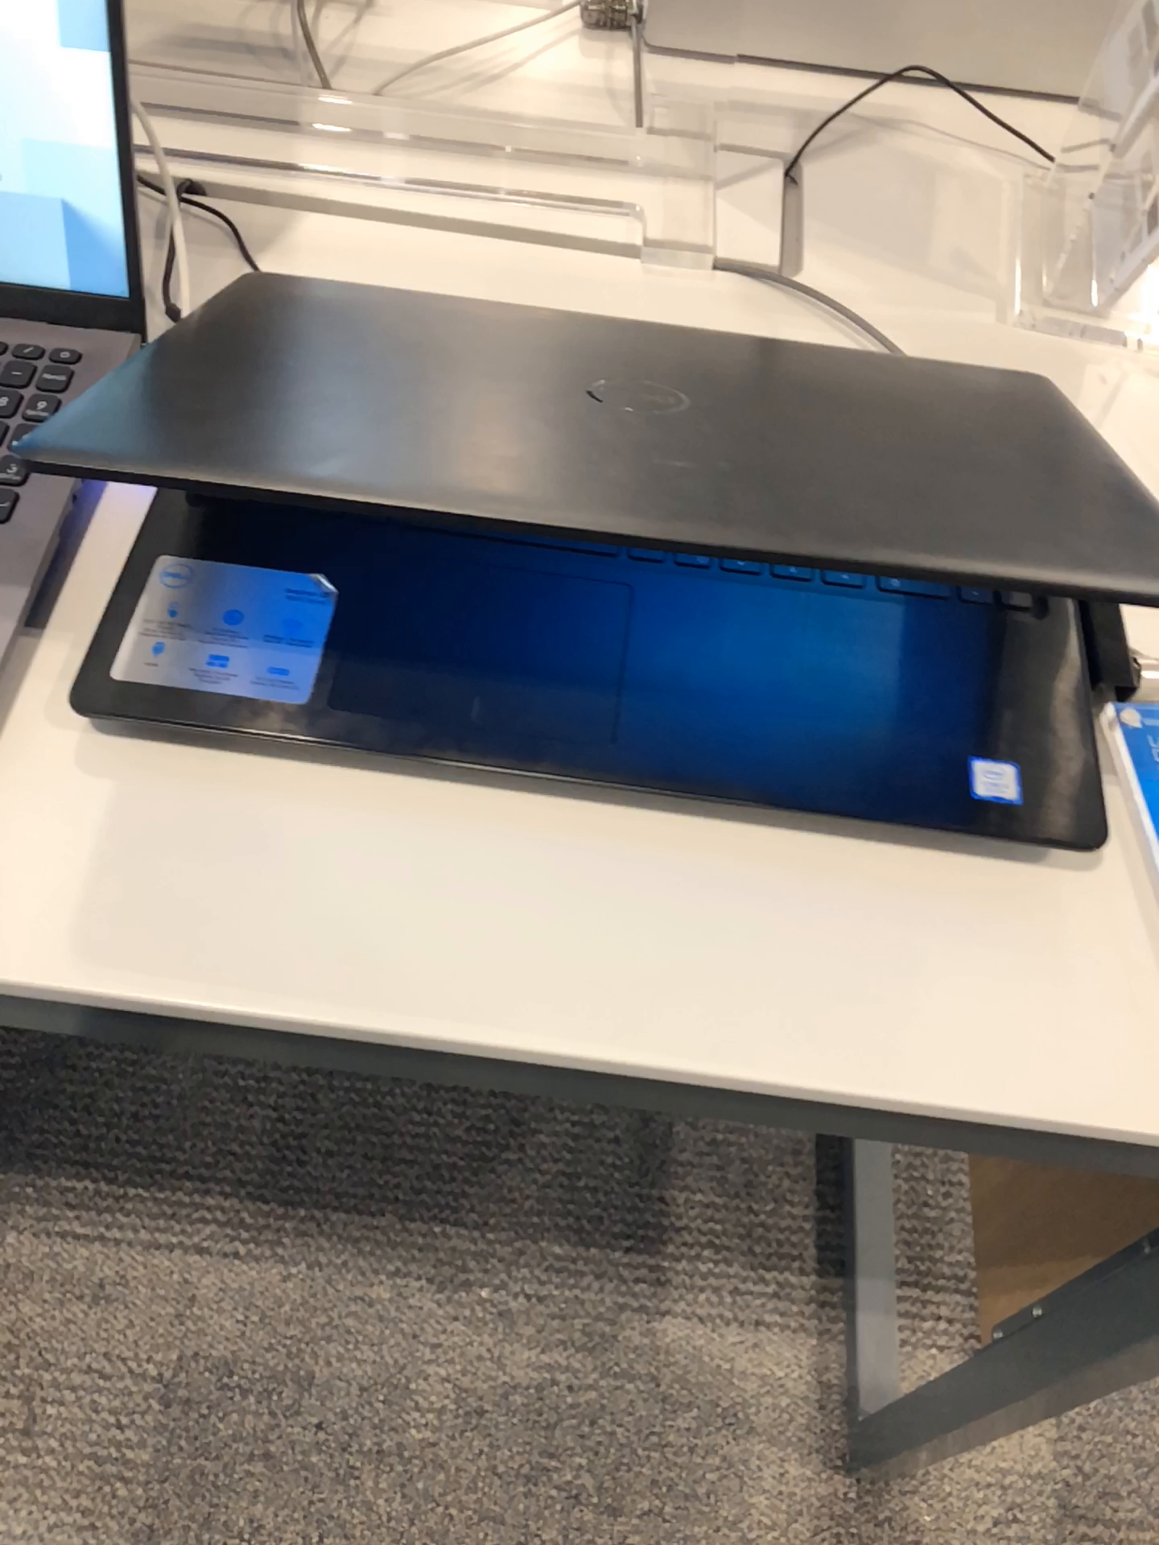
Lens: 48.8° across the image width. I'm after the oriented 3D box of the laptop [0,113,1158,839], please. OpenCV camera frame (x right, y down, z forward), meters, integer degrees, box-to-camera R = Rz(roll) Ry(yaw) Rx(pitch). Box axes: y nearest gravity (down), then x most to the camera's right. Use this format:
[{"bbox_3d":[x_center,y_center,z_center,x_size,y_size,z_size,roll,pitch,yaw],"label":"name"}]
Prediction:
[{"bbox_3d":[0.021,-0.122,0.486,0.365,0.080,0.245,8,55,-1],"label":"laptop"}]
